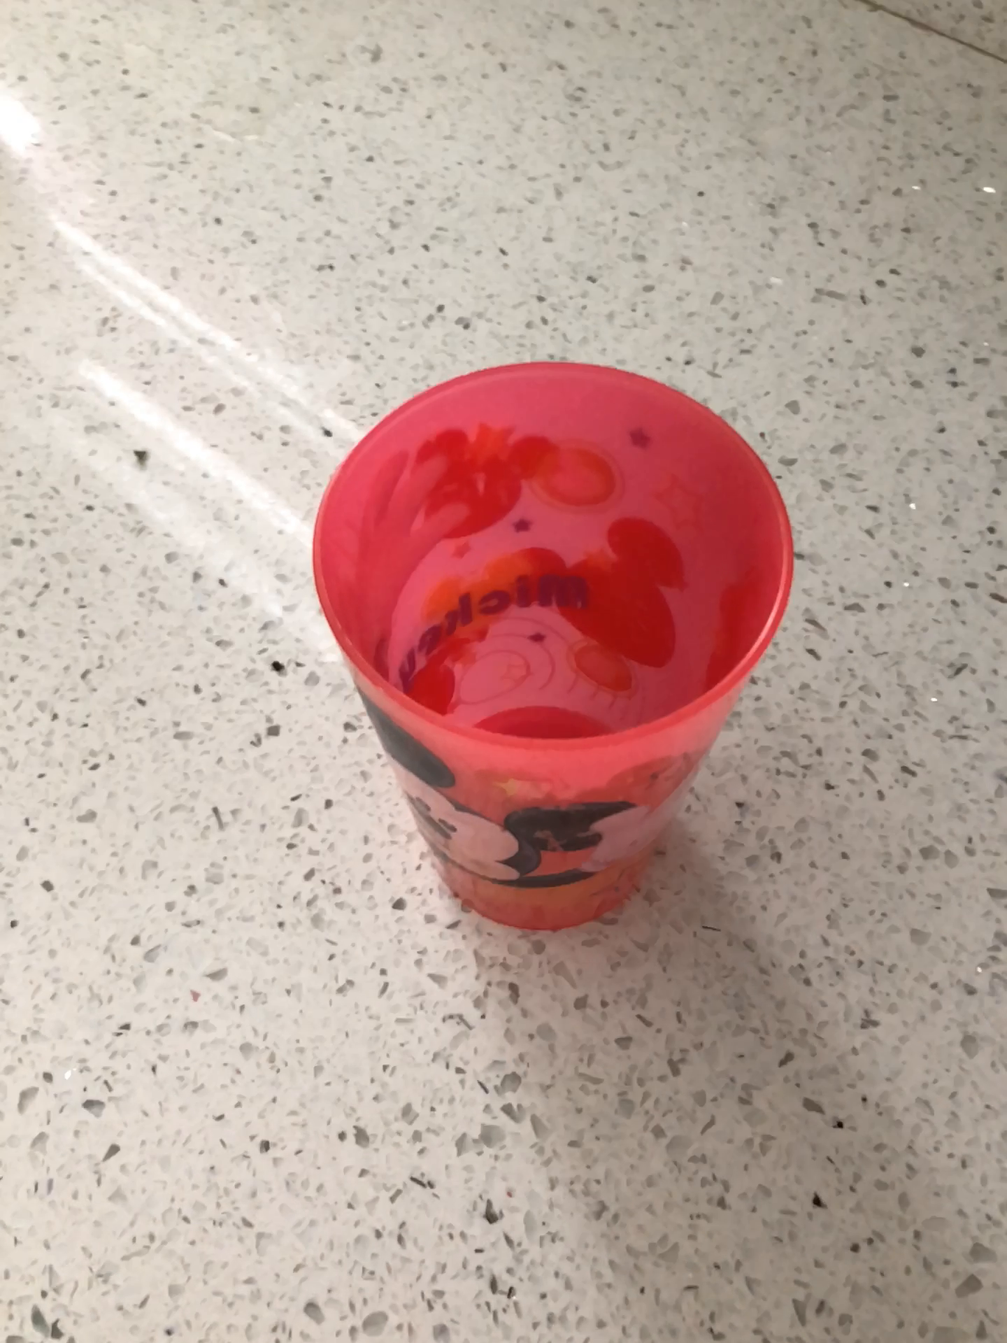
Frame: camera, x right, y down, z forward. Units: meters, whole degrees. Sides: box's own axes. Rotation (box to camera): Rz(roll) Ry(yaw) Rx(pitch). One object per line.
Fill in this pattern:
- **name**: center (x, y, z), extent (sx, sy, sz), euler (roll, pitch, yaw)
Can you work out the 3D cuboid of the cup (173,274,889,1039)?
- **cup**: center (0.005, 0.003, 0.201), extent (0.073, 0.097, 0.071), euler (-1, 59, 1)
